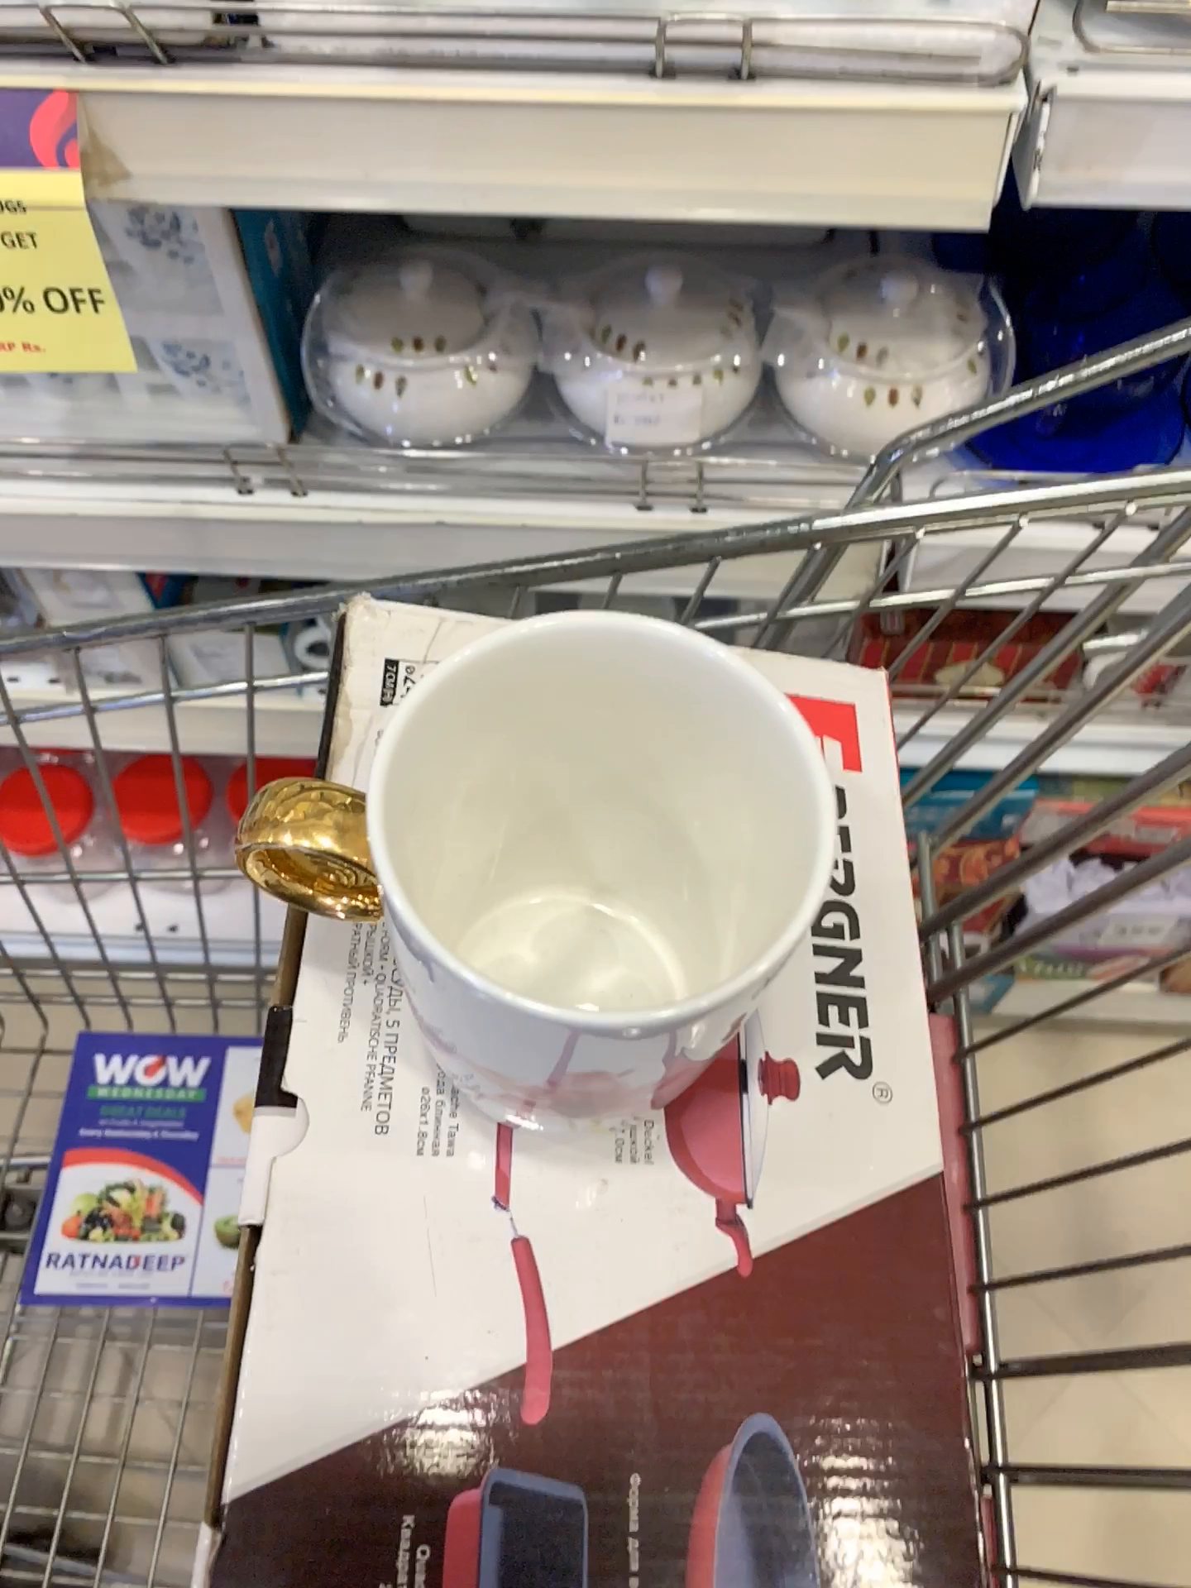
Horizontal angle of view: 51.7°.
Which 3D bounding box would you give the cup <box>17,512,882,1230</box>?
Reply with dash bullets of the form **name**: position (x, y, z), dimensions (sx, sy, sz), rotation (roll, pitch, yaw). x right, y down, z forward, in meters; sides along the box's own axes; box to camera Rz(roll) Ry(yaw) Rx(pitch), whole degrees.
- **cup**: position (-0.020, 0.019, 0.221), dimensions (0.110, 0.090, 0.070), rotation (16, 62, 6)
